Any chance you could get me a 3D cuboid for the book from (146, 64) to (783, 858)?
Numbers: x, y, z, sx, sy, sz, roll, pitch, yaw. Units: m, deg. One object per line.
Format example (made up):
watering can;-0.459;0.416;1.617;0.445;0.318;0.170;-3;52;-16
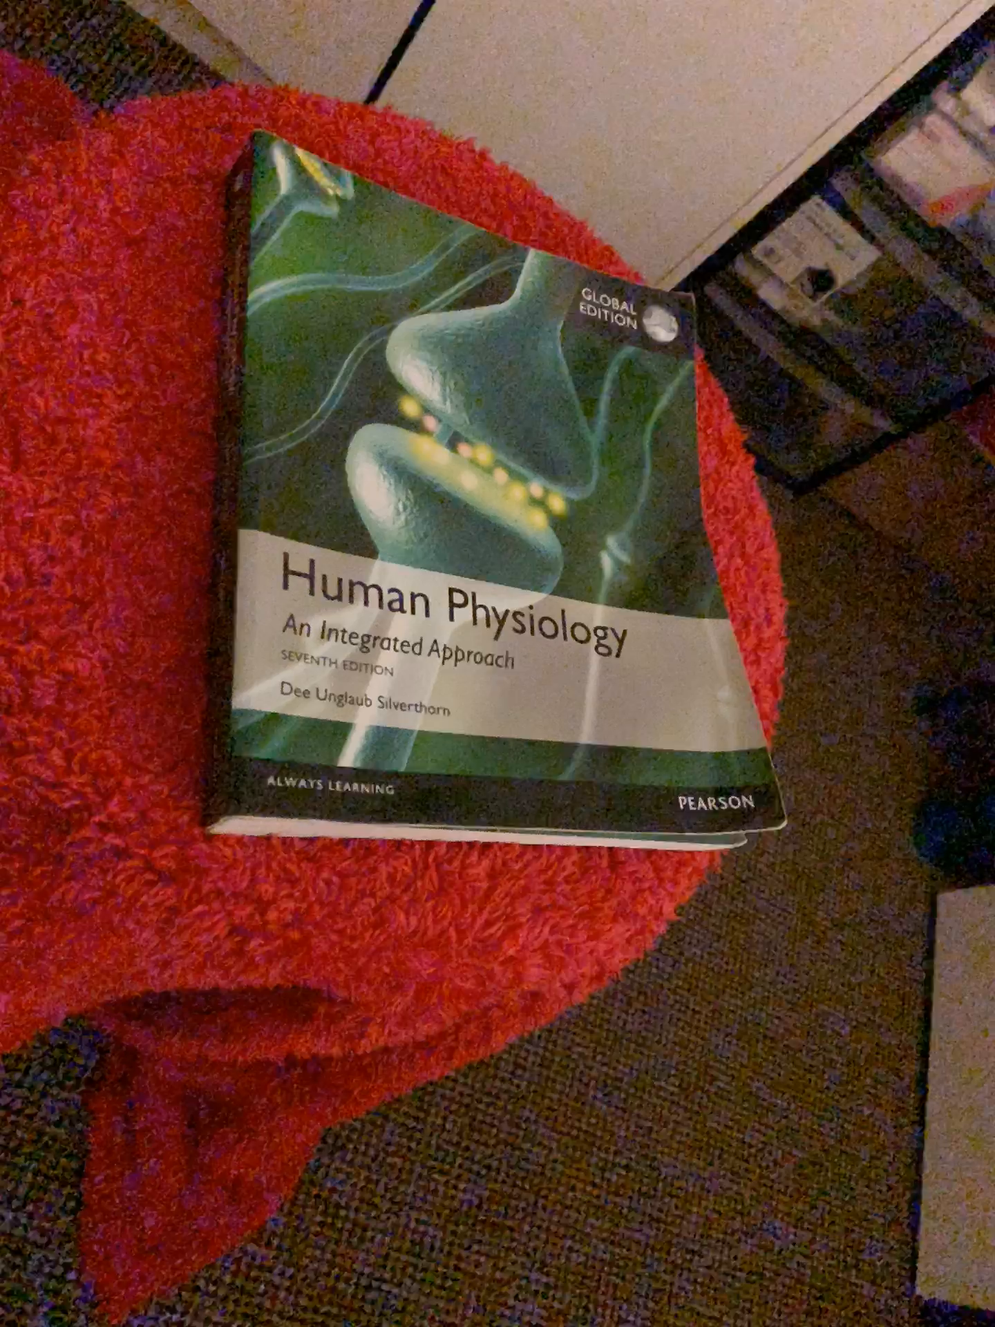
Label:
book;-0.010;-0.074;0.453;0.251;0.070;0.301;9;67;-31
